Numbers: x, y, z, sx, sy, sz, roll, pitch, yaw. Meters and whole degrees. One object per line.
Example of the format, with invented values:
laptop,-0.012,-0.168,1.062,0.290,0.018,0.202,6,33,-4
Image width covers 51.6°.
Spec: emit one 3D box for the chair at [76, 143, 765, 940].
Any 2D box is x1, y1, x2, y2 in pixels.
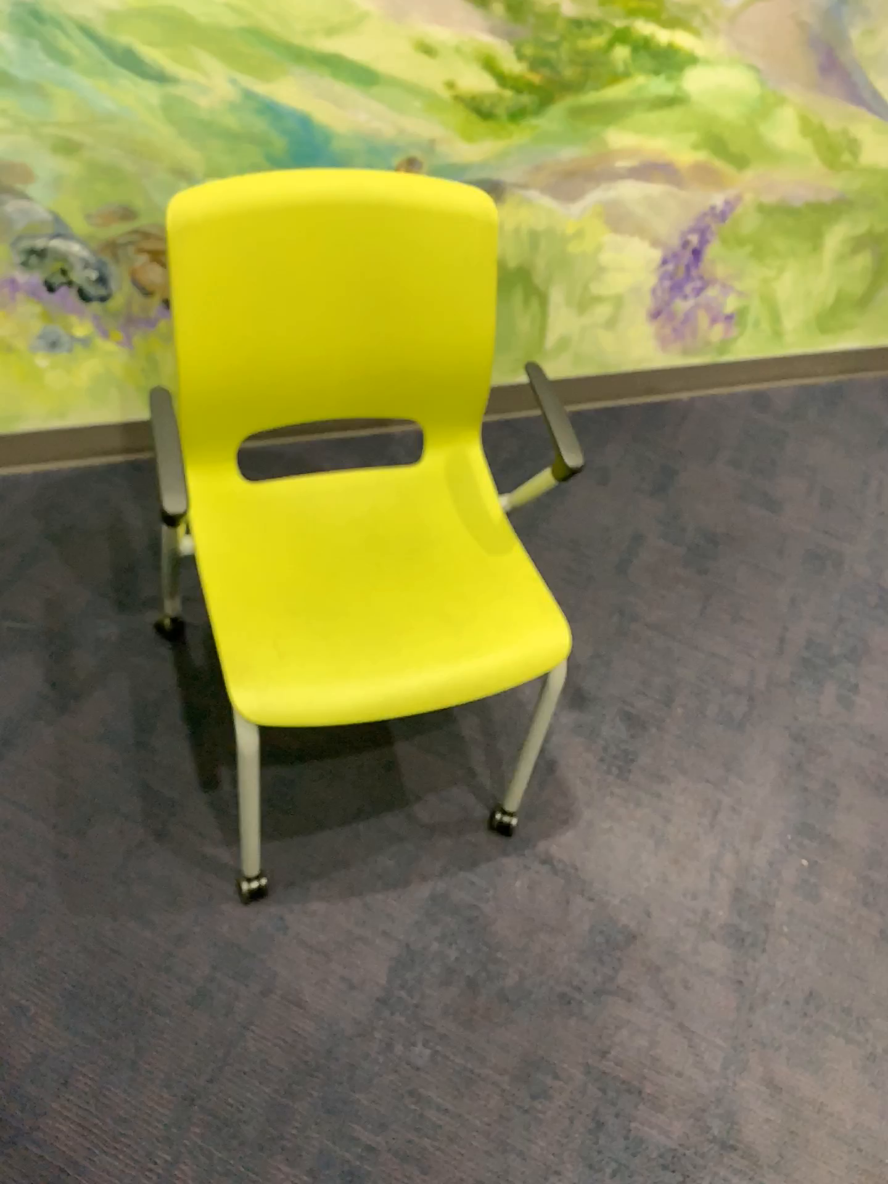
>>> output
chair,-0.131,-0.081,1.271,0.590,0.717,0.743,-7,51,-17
